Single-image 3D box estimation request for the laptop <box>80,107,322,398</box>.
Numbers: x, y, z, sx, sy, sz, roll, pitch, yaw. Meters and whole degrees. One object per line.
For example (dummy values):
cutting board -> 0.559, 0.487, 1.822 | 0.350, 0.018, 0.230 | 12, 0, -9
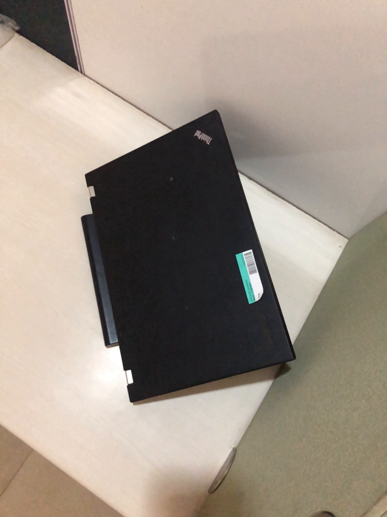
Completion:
laptop -> -0.008, -0.009, 0.614 | 0.232, 0.140, 0.355 | -12, 73, -8
